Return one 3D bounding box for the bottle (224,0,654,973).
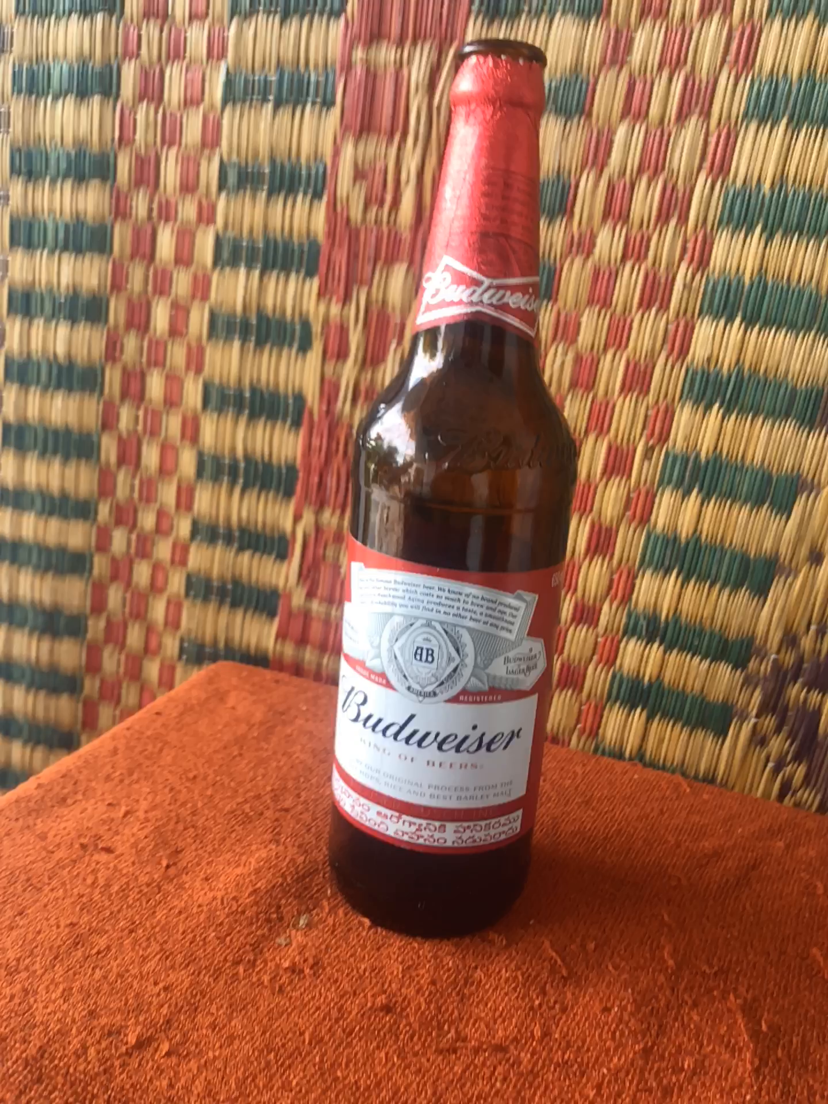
[{"bbox_3d":[0.003,-0.014,0.283,0.090,0.259,0.070,11,19,17],"label":"bottle"}]
